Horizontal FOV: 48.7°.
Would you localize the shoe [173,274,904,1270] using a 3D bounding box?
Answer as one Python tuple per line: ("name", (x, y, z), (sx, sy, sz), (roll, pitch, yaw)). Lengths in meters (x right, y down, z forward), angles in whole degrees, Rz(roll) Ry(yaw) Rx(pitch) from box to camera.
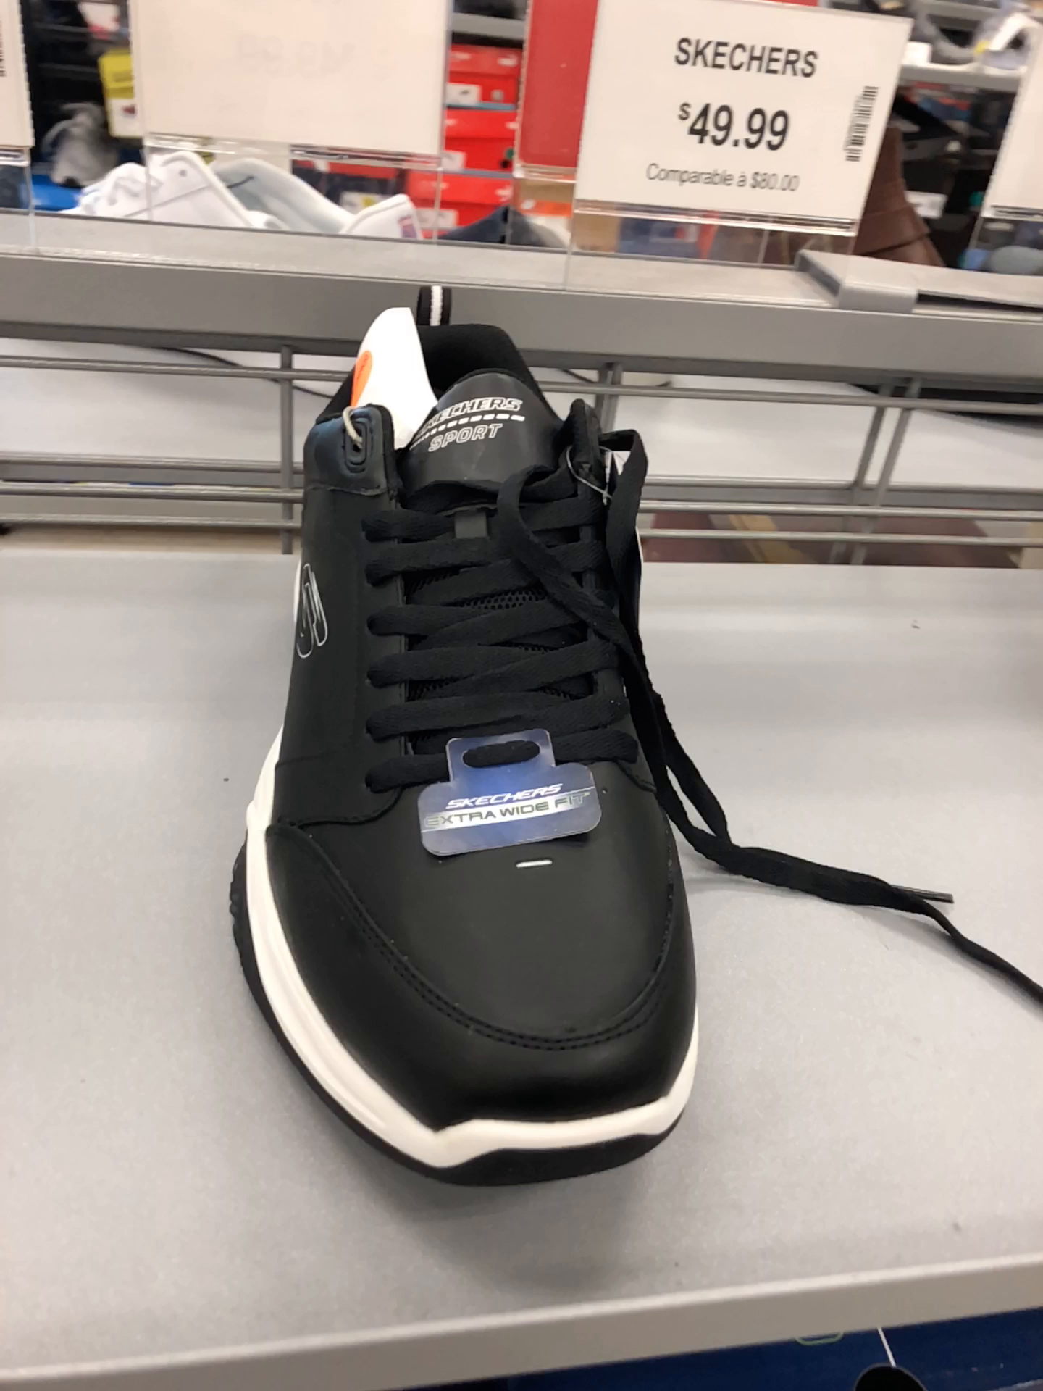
("shoe", (-0.026, -0.023, 0.372), (0.130, 0.109, 0.353), (0, 36, -11))
